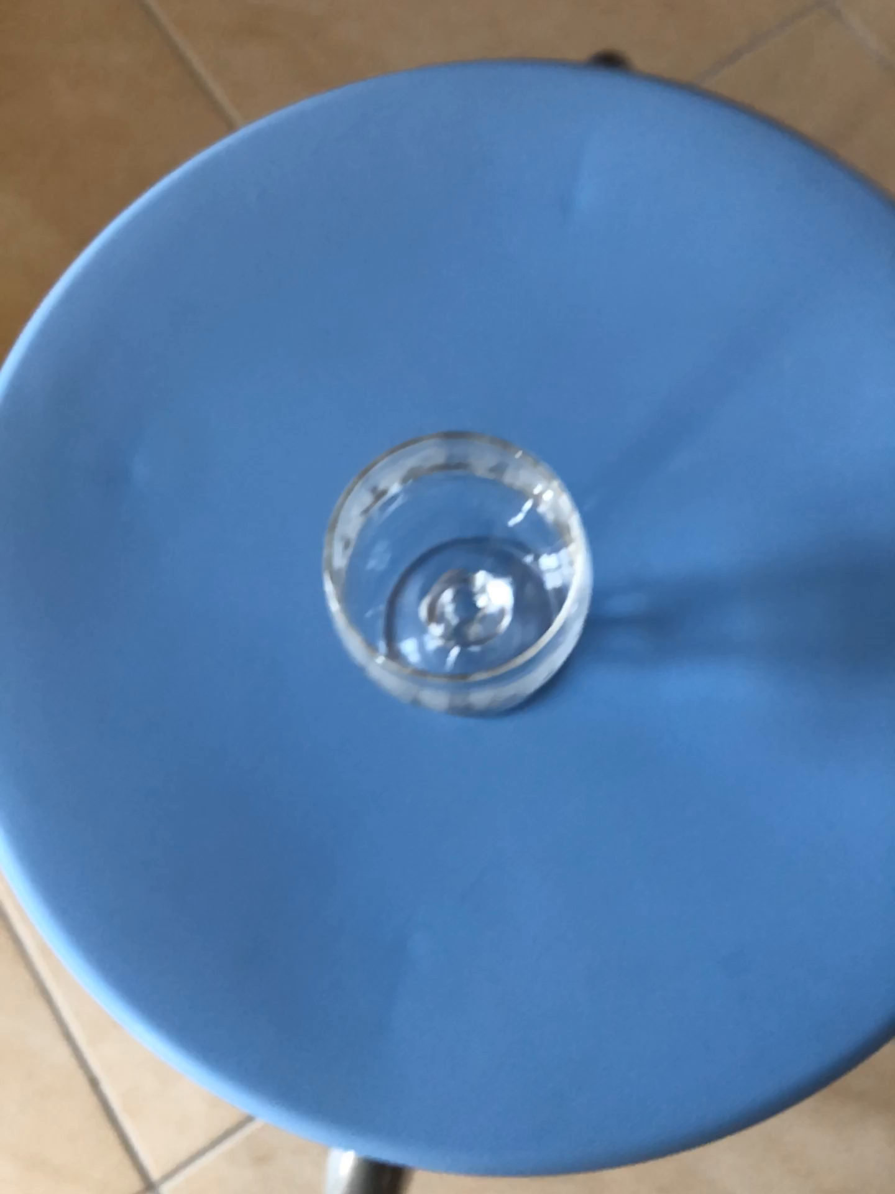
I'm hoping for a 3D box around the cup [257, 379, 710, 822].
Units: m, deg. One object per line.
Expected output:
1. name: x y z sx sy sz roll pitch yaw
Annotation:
1. cup: 0.008 0.007 0.228 0.060 0.080 0.060 -1 77 3
